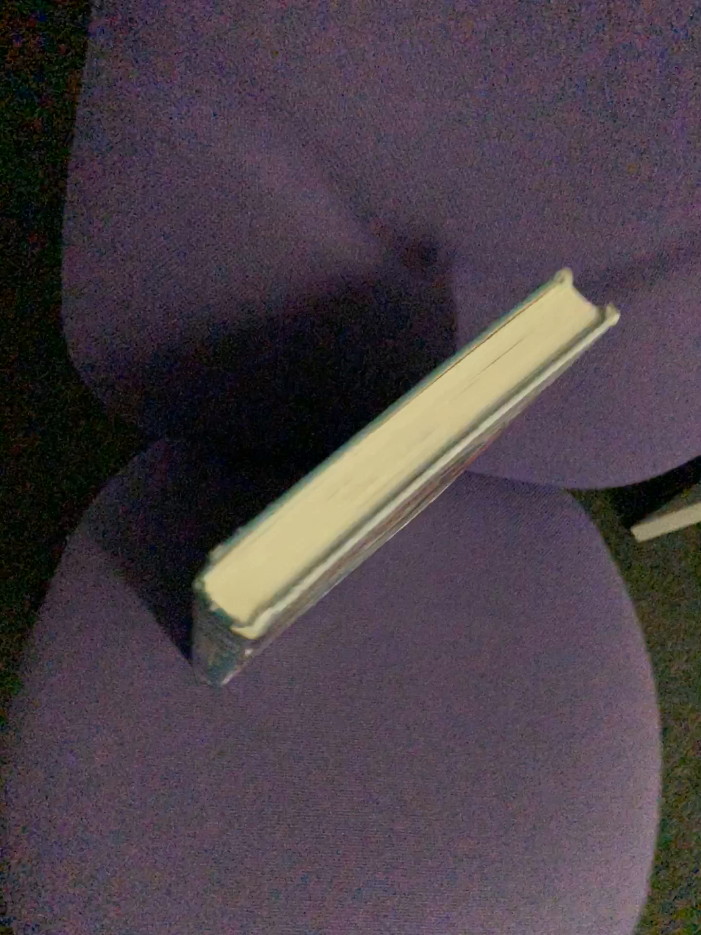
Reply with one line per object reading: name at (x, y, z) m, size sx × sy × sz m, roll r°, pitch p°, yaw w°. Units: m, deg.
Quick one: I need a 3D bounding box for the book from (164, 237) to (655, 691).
book at (0.012, 0.026, 0.421) m, size 0.243 × 0.289 × 0.040 m, roll -39°, pitch 82°, yaw -20°
